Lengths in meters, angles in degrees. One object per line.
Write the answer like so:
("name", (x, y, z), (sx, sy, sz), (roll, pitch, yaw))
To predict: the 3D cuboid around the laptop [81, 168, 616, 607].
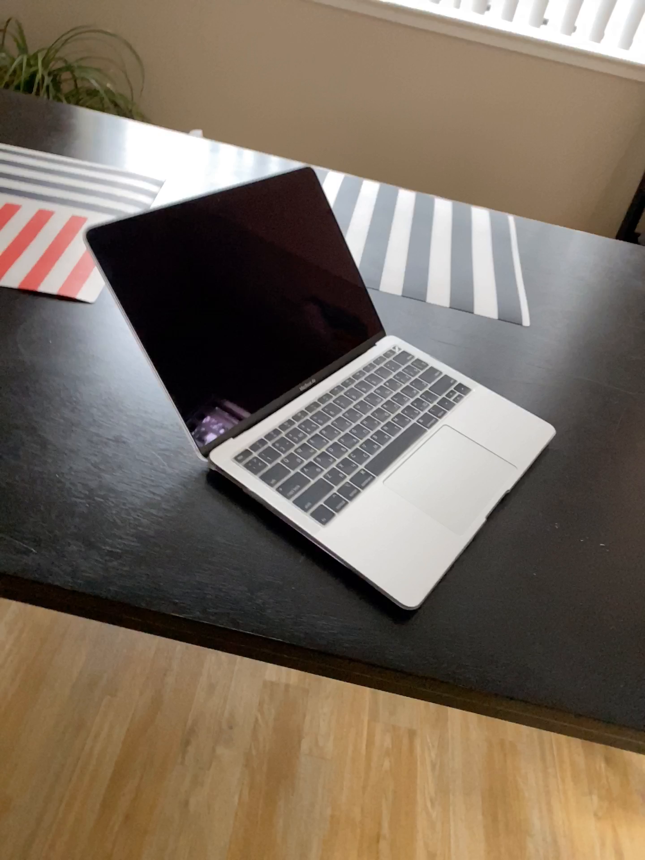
("laptop", (0.025, -0.079, 0.605), (0.361, 0.139, 0.298), (33, 44, 20))
